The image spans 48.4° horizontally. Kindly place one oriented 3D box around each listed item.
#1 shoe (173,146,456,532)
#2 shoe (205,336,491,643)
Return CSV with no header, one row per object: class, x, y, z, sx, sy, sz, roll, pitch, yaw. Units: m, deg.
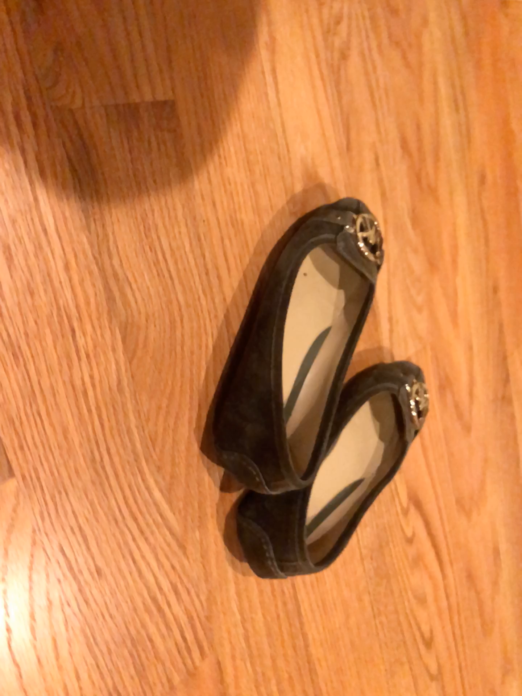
shoe,0.047,-0.012,0.410,0.091,0.079,0.242,41,65,-37
shoe,0.082,0.088,0.452,0.241,0.079,0.091,-37,116,-36
